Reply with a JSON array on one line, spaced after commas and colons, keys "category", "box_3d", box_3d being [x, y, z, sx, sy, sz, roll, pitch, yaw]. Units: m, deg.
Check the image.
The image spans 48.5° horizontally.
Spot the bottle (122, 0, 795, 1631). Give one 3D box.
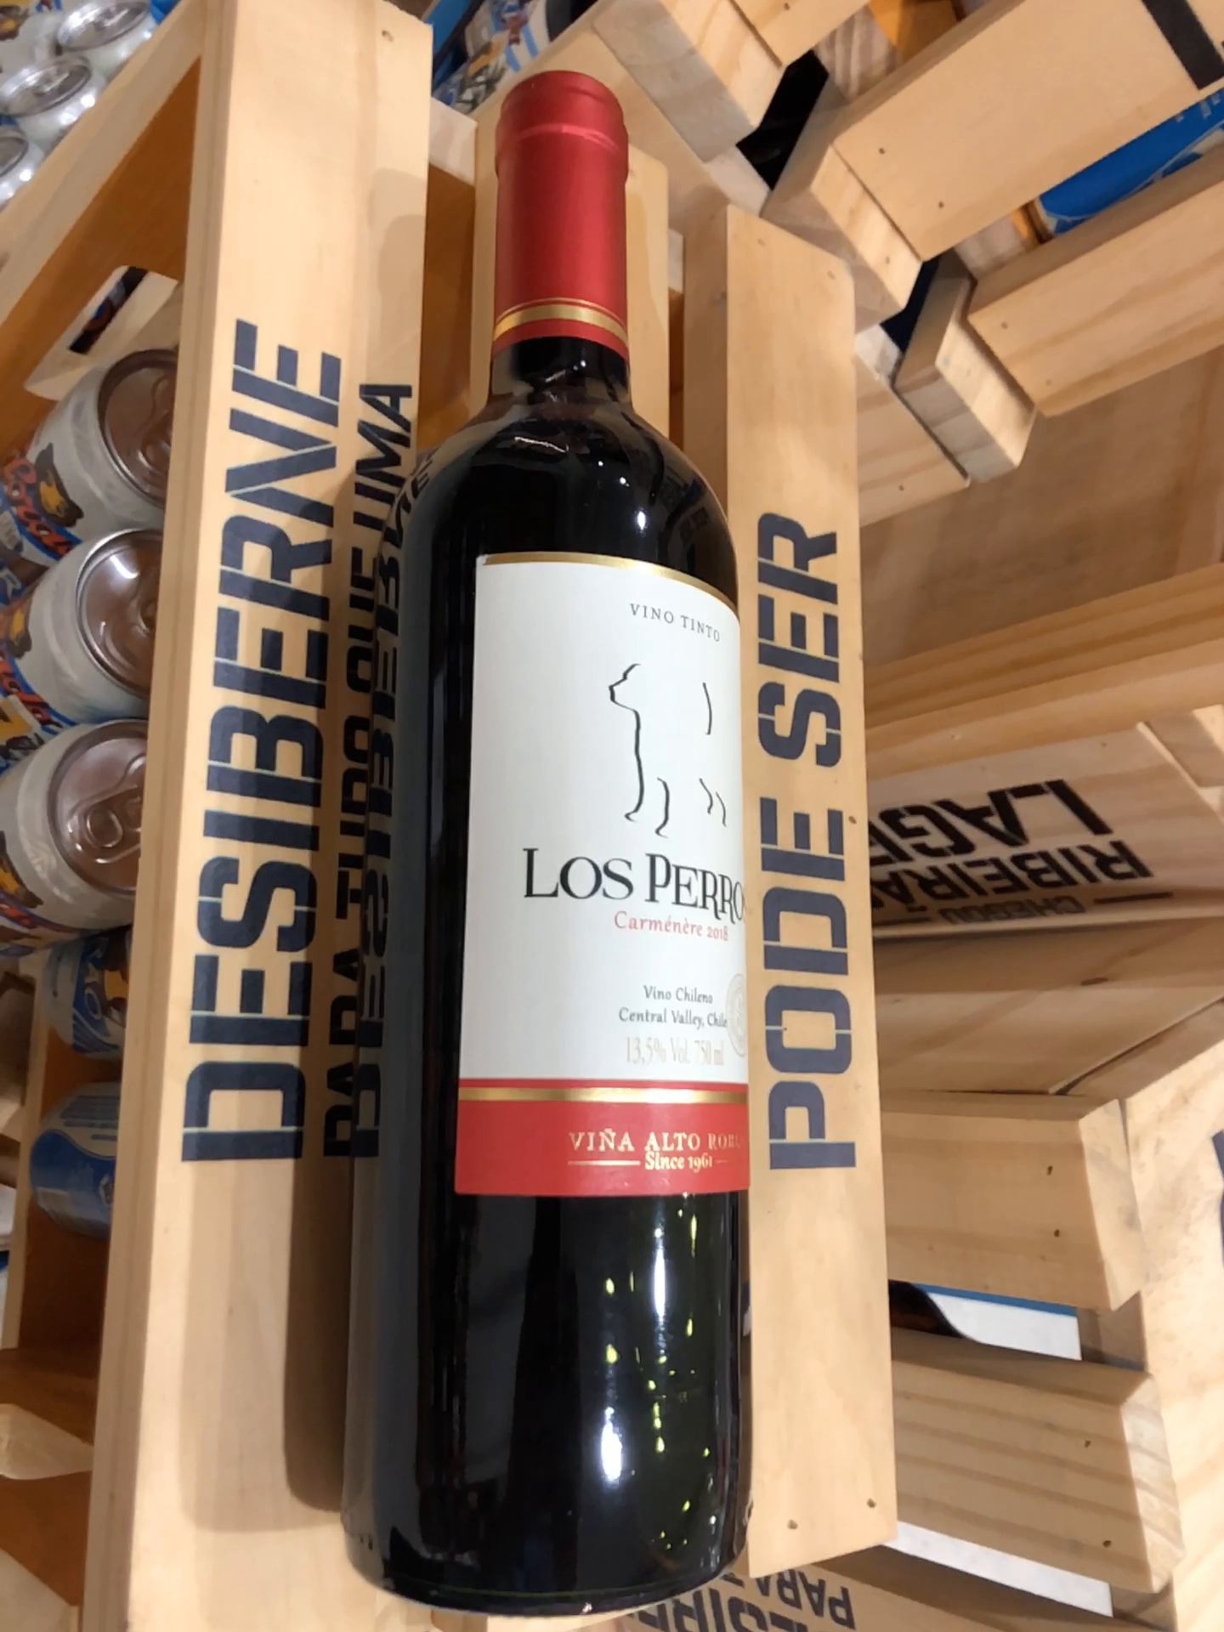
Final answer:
[{"category": "bottle", "box_3d": [-0.021, -0.021, 0.248, 0.091, 0.060, 0.310, 10, 76, -40]}]
